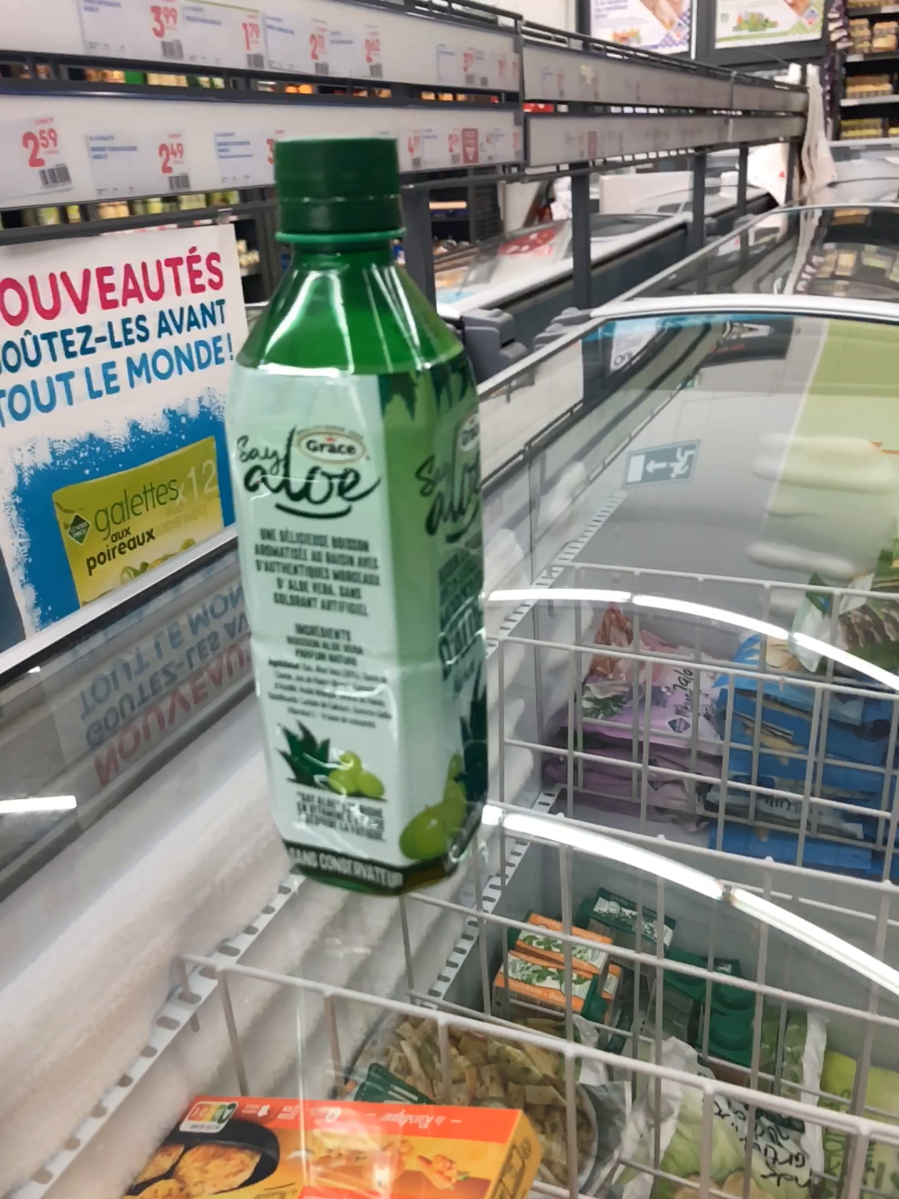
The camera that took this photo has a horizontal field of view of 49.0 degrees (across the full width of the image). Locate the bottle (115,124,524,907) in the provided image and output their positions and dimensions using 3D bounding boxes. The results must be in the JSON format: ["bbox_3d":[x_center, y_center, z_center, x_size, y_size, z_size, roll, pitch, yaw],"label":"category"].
[{"bbox_3d":[-0.025,-0.022,0.280,0.070,0.199,0.070,-3,23,1],"label":"bottle"}]
